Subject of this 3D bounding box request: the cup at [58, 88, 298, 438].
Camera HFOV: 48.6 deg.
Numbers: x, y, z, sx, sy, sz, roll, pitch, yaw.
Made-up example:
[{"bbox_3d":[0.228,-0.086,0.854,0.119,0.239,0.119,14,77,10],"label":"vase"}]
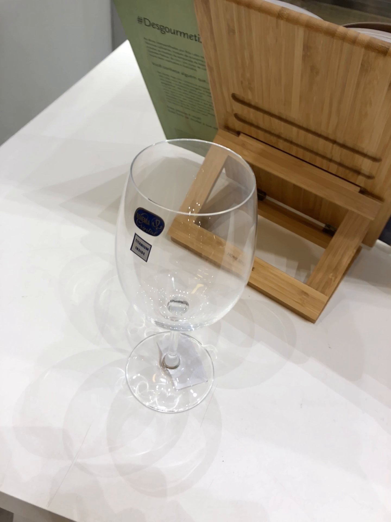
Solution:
[{"bbox_3d":[-0.016,0.020,0.315,0.100,0.238,0.091,20,47,10],"label":"cup"}]
